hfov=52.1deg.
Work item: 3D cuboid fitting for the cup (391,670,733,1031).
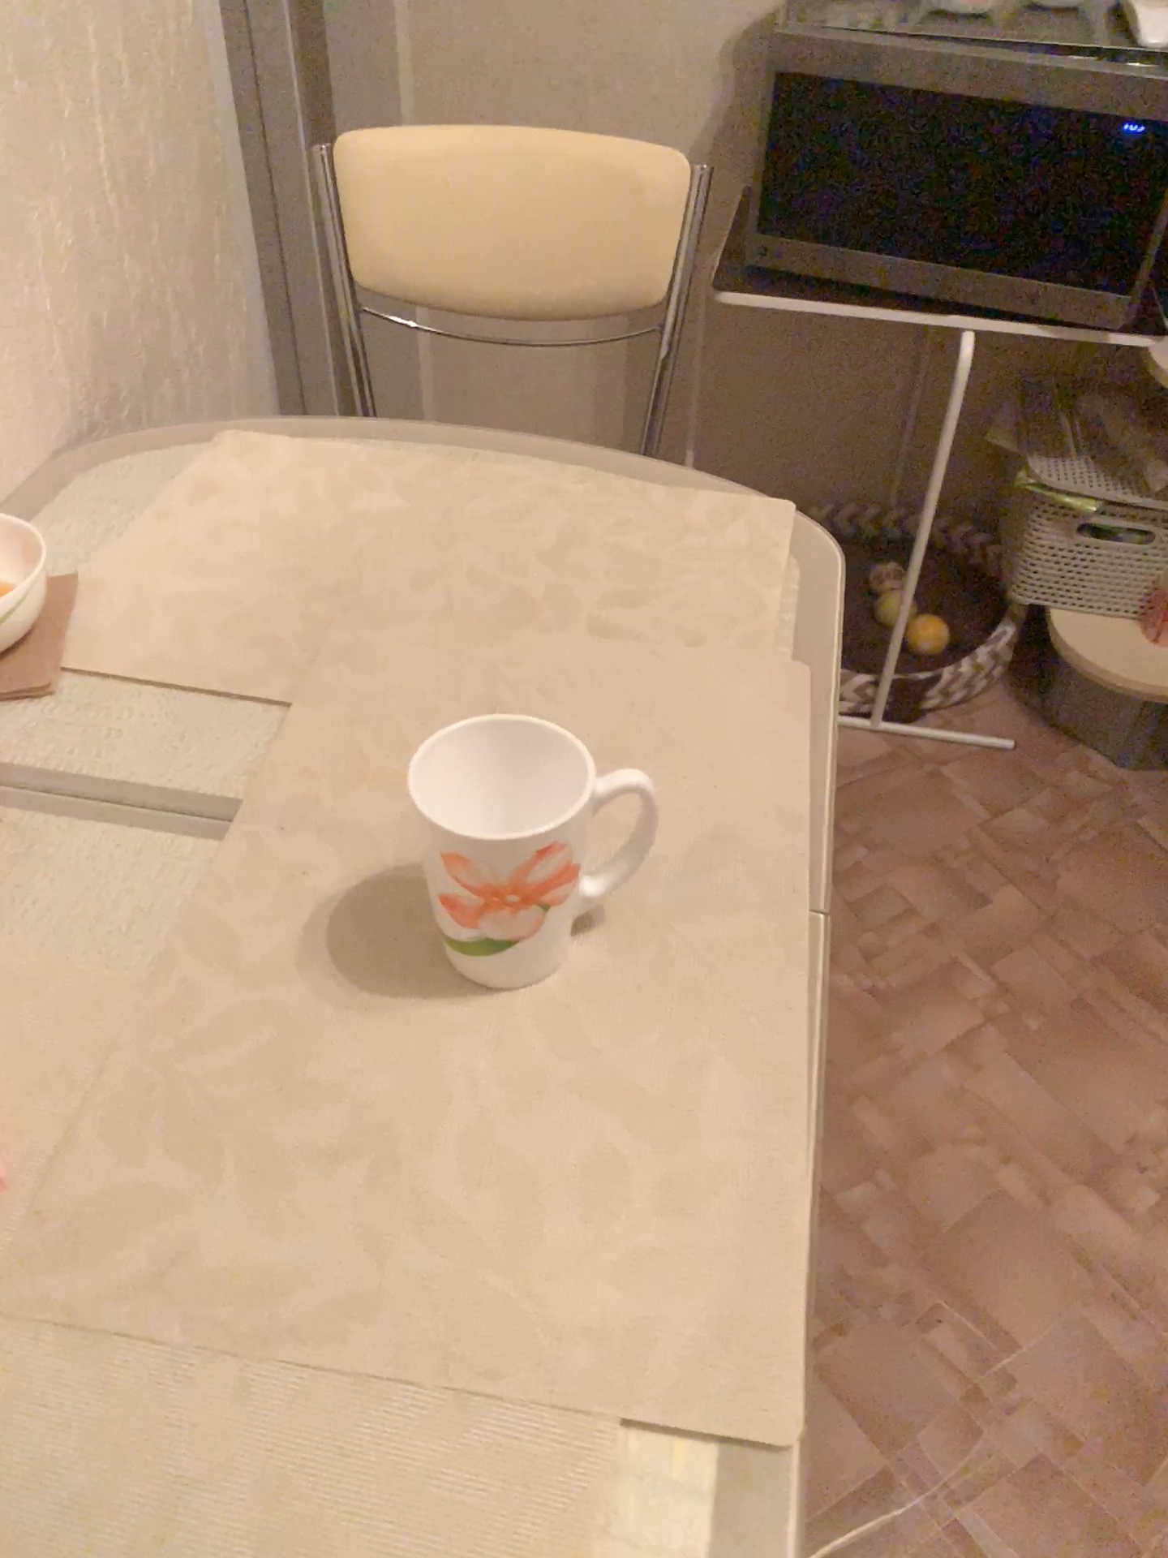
[{"bbox_3d":[-0.012,0.030,0.520,0.120,0.109,0.081,-12,44,-14],"label":"cup"}]
